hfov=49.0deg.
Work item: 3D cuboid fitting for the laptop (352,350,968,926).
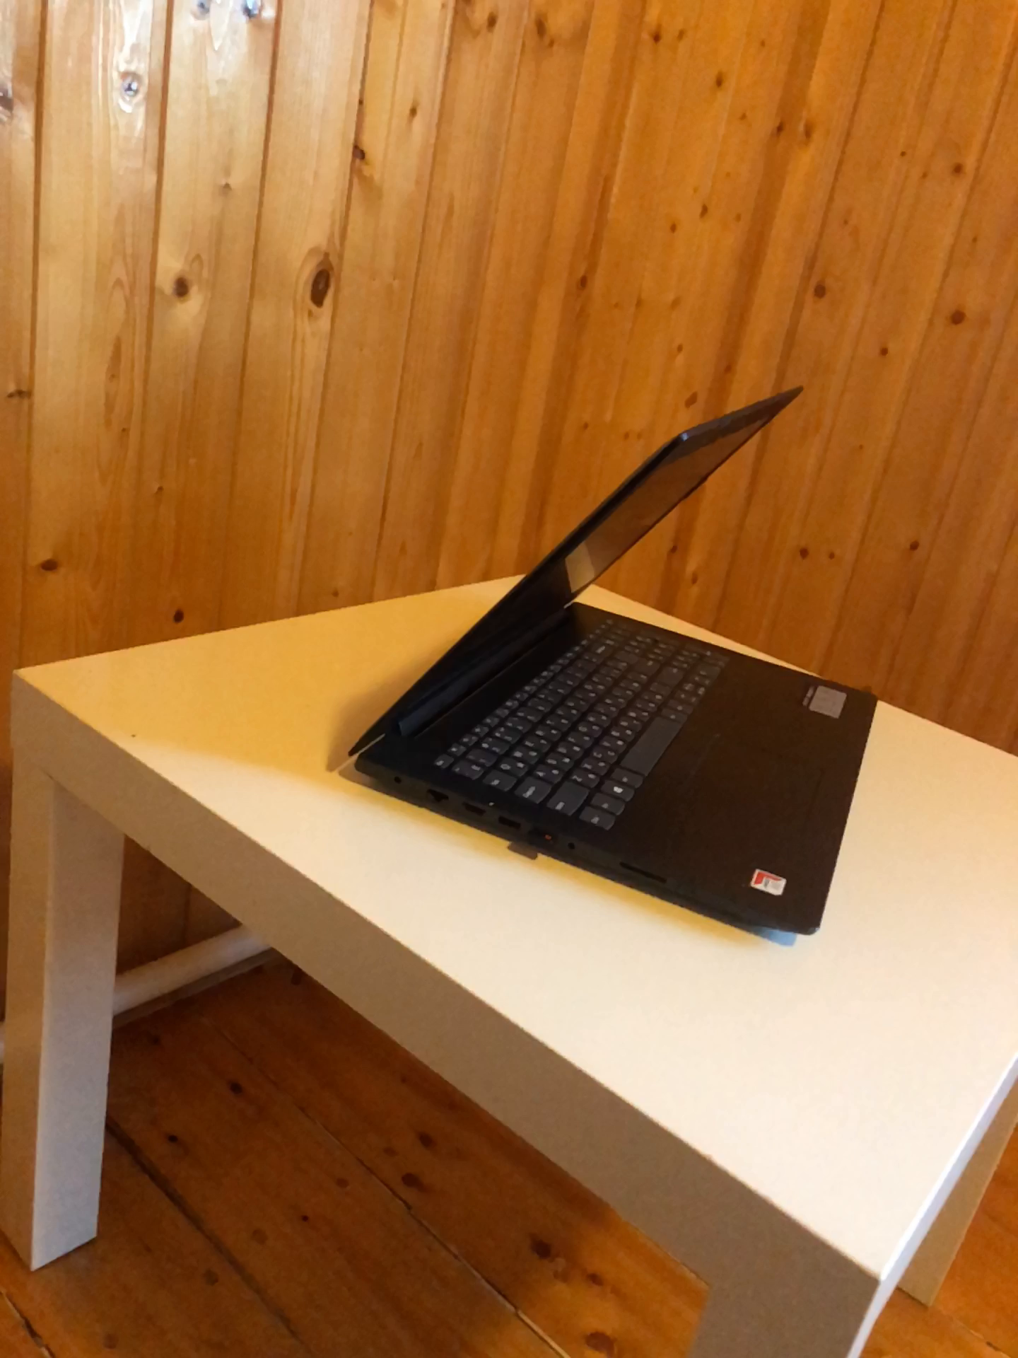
[{"bbox_3d":[0.119,-0.067,0.691,0.250,0.206,0.374,18,22,17],"label":"laptop"}]
